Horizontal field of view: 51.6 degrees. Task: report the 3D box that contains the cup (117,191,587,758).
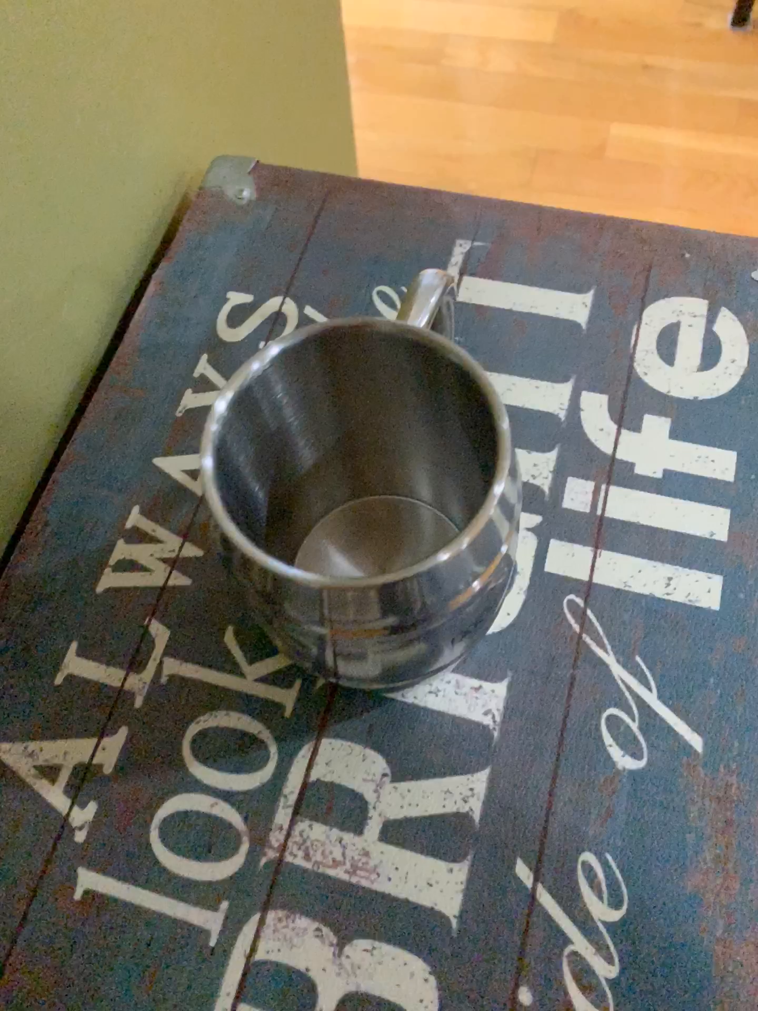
[{"bbox_3d":[0.003,-0.003,0.251,0.088,0.114,0.129,12,66,10],"label":"cup"}]
